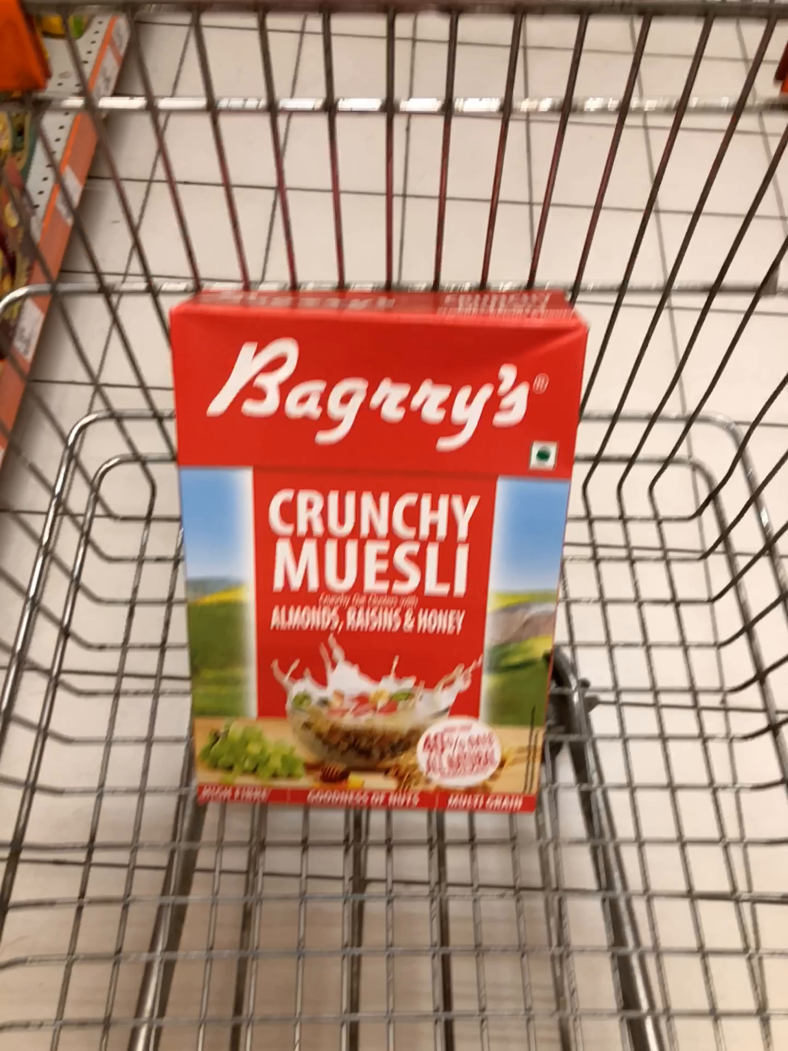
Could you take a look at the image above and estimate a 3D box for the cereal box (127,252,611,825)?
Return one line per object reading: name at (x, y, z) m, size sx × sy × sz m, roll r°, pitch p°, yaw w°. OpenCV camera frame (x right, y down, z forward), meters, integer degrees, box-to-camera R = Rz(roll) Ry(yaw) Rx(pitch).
cereal box at (-0.014, 0.018, 0.430) m, size 0.190 × 0.279 × 0.060 m, roll 2°, pitch 26°, yaw -1°
